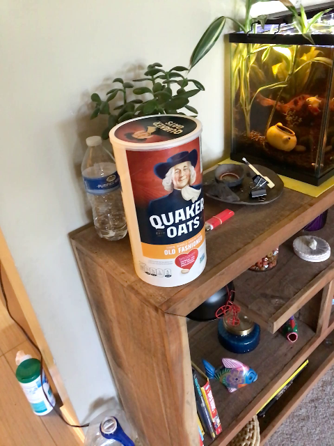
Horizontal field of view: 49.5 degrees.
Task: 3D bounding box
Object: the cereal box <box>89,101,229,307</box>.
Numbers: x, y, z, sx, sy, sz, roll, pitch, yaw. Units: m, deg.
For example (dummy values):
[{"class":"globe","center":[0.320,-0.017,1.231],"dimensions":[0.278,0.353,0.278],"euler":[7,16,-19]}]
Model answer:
[{"class":"cereal box","center":[-0.007,-0.032,0.558],"dimensions":[0.140,0.248,0.141],"euler":[-21,37,-22]}]
